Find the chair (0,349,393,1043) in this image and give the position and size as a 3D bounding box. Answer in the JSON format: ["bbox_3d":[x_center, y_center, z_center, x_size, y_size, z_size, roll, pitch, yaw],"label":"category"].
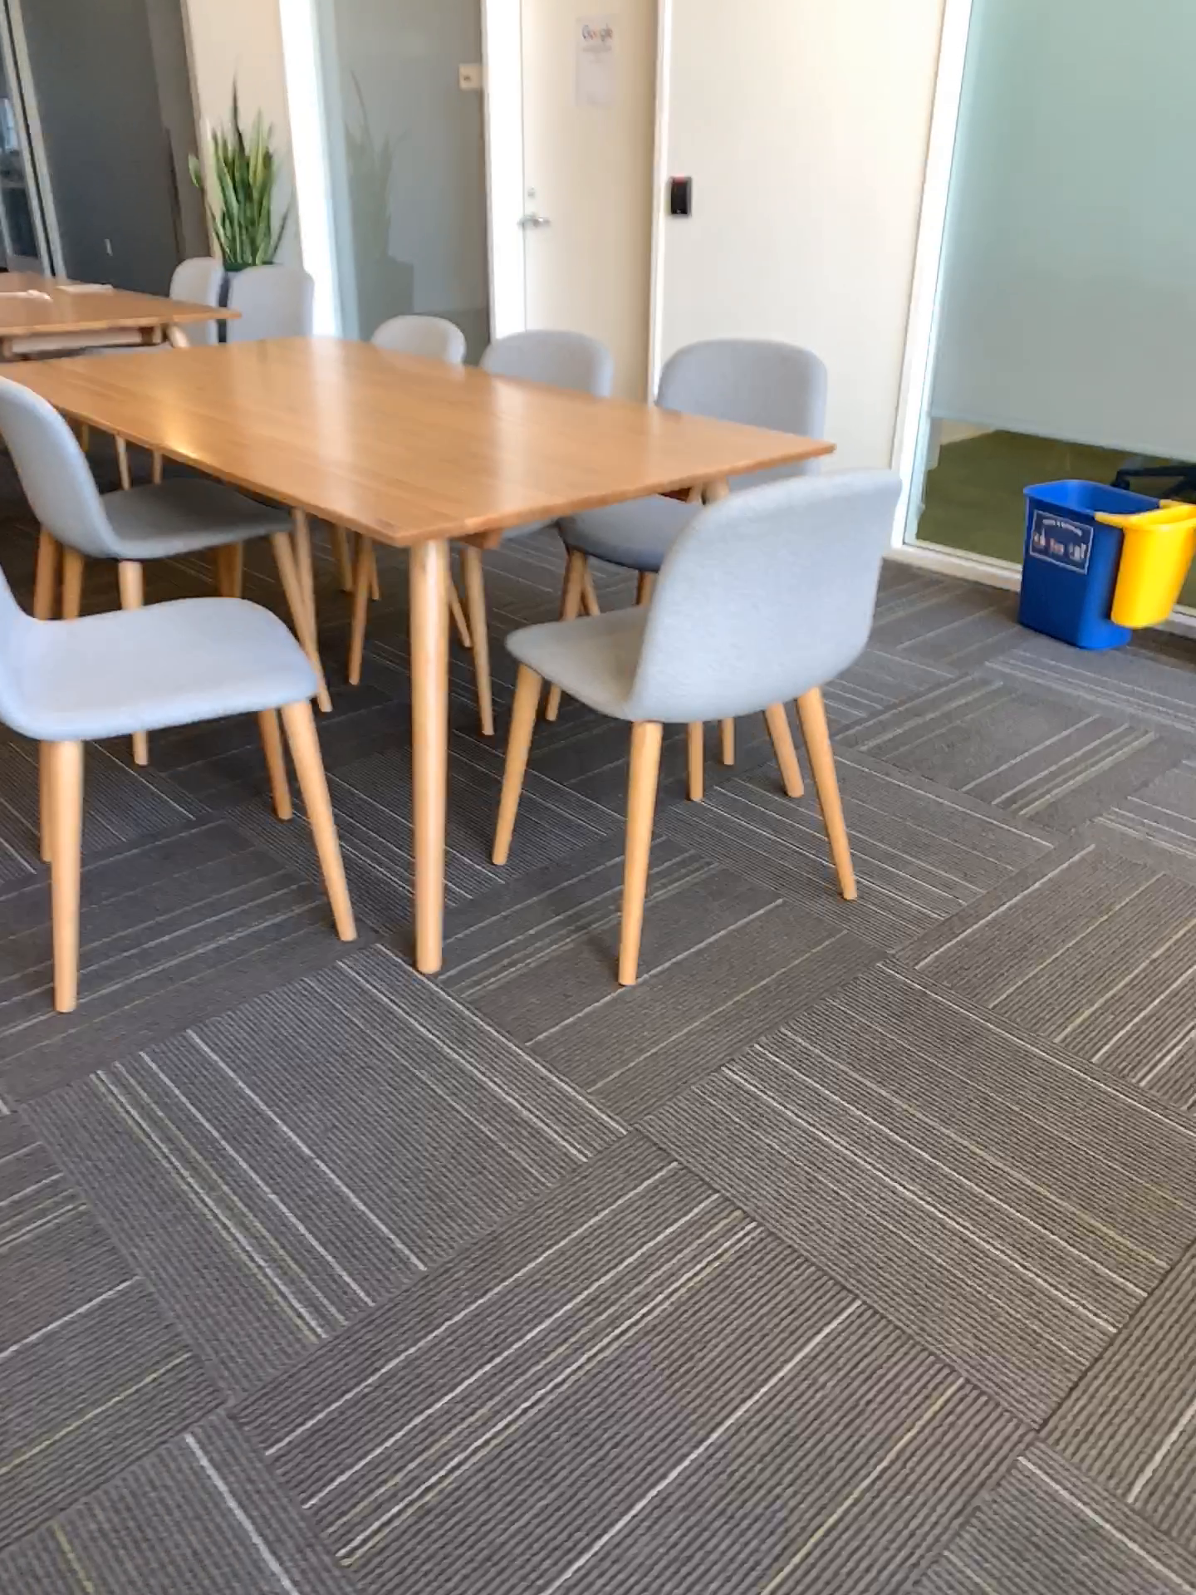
[{"bbox_3d":[-0.777,-0.235,1.974,0.630,0.815,0.764,-12,30,-23],"label":"chair"}]

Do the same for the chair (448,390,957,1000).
[{"bbox_3d":[0.142,-0.210,2.012,0.560,0.775,0.533,-17,32,-30],"label":"chair"}]
